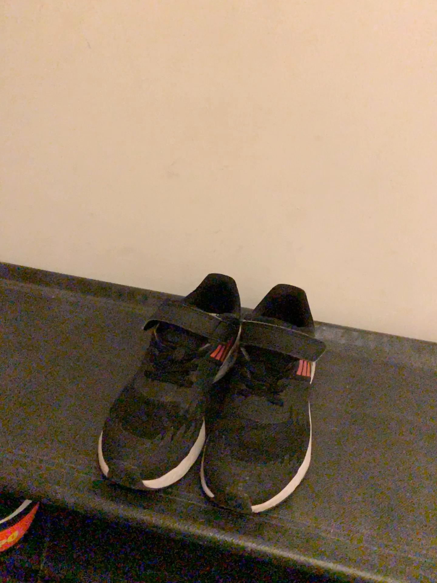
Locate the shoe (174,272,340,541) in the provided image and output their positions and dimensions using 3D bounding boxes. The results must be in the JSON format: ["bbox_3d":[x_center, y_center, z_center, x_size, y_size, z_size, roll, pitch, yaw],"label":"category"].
[{"bbox_3d":[0.042,0.075,0.374,0.090,0.079,0.202,13,33,10],"label":"shoe"}]

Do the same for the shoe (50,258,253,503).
[{"bbox_3d":[-0.043,0.059,0.397,0.090,0.079,0.202,14,34,13],"label":"shoe"}]
